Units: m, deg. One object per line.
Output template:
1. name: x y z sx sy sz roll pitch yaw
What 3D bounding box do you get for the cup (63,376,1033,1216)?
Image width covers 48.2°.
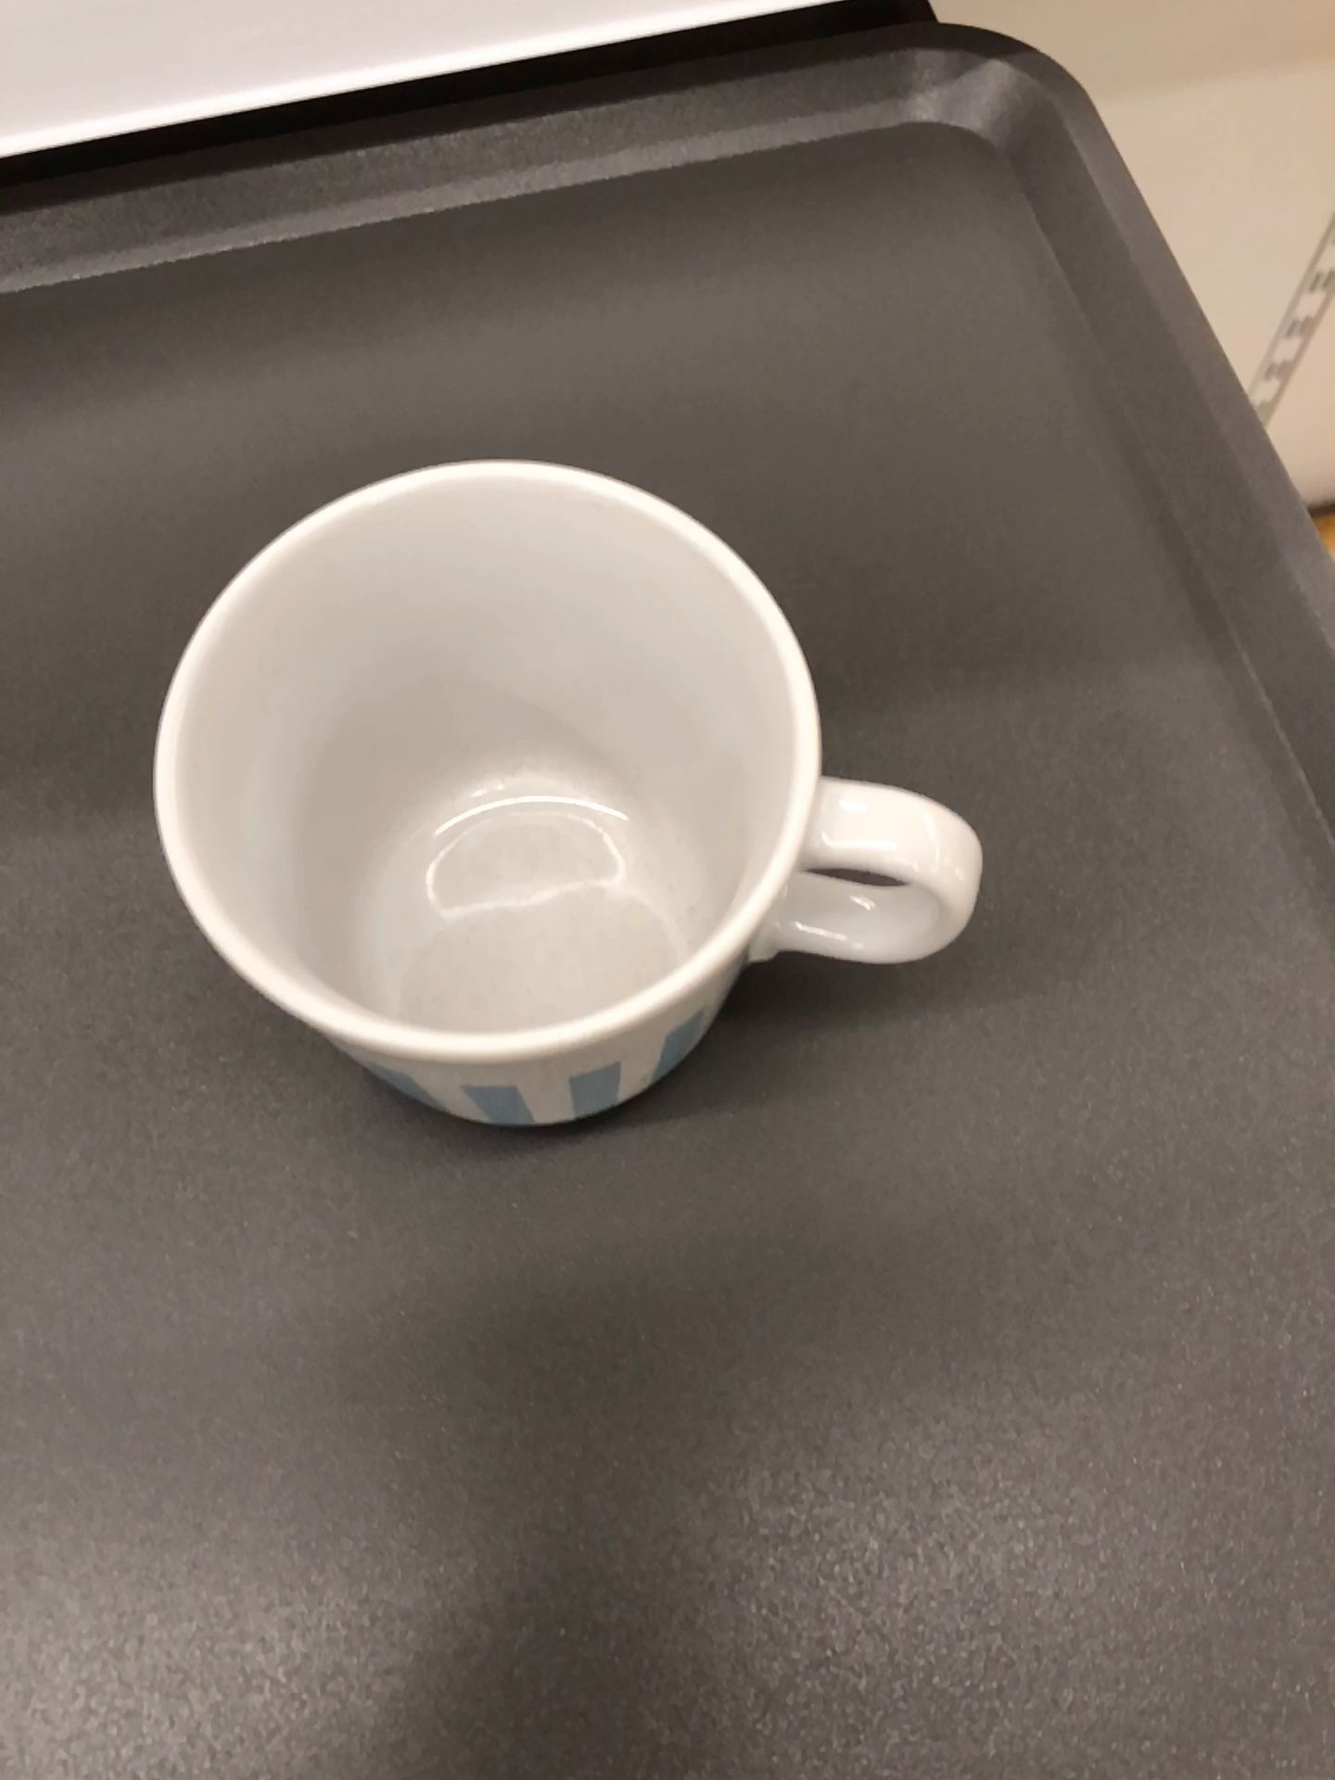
1. cup: -0.010 -0.011 0.220 0.110 0.070 0.090 6 65 2
